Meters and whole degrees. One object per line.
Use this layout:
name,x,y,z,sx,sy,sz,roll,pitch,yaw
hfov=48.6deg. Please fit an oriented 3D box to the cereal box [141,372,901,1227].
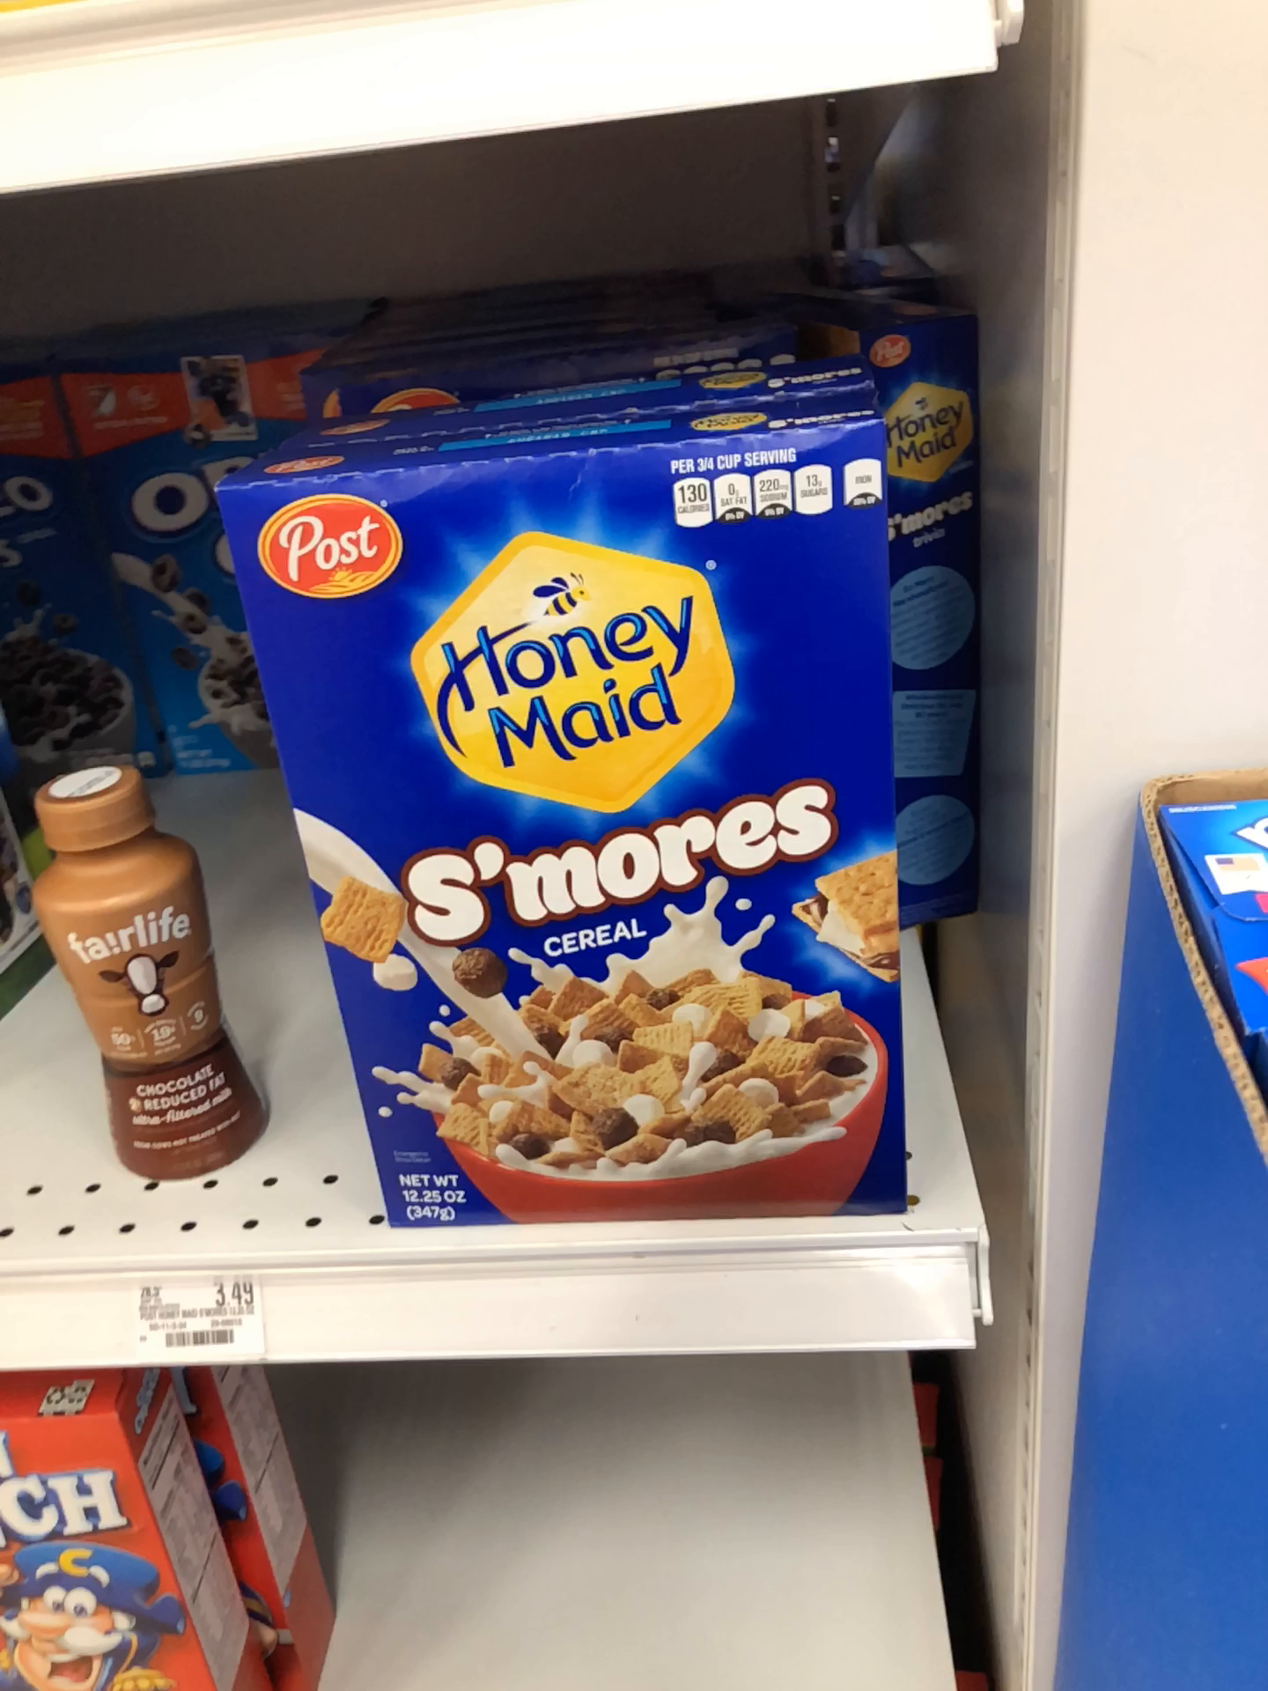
cereal box,-0.018,-0.001,0.466,0.200,0.269,0.070,-3,28,7
